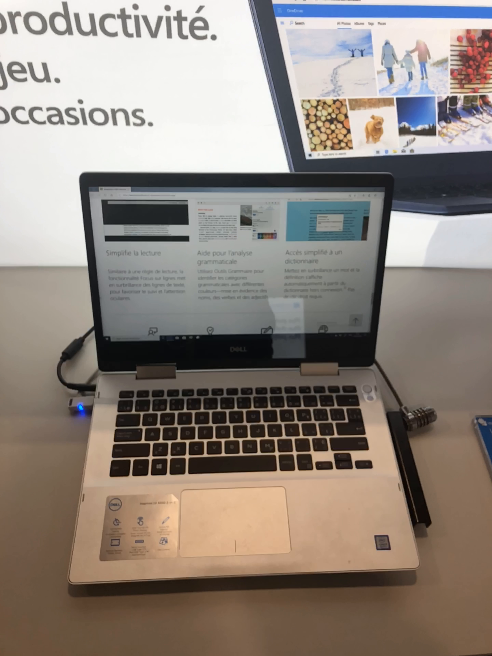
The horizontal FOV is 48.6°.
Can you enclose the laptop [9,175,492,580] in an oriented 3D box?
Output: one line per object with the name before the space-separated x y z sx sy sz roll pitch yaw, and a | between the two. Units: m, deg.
laptop | -0.003 0.033 0.532 0.316 0.194 0.338 -1 51 -3
